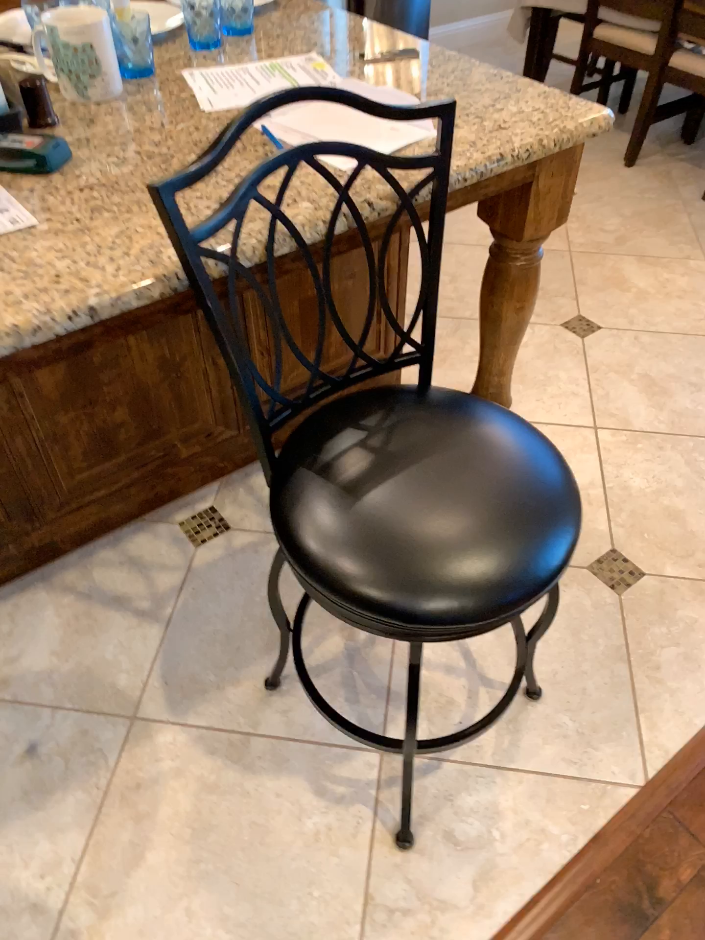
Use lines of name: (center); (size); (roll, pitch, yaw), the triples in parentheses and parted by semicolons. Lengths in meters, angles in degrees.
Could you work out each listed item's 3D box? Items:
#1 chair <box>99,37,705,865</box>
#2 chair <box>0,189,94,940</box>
chair: (0.088, 0.054, 1.081); (0.468, 1.068, 0.506); (-32, 54, -27)
chair: (-0.732, 0.481, 0.598); (0.555, 1.098, 0.589); (-26, 51, -23)
